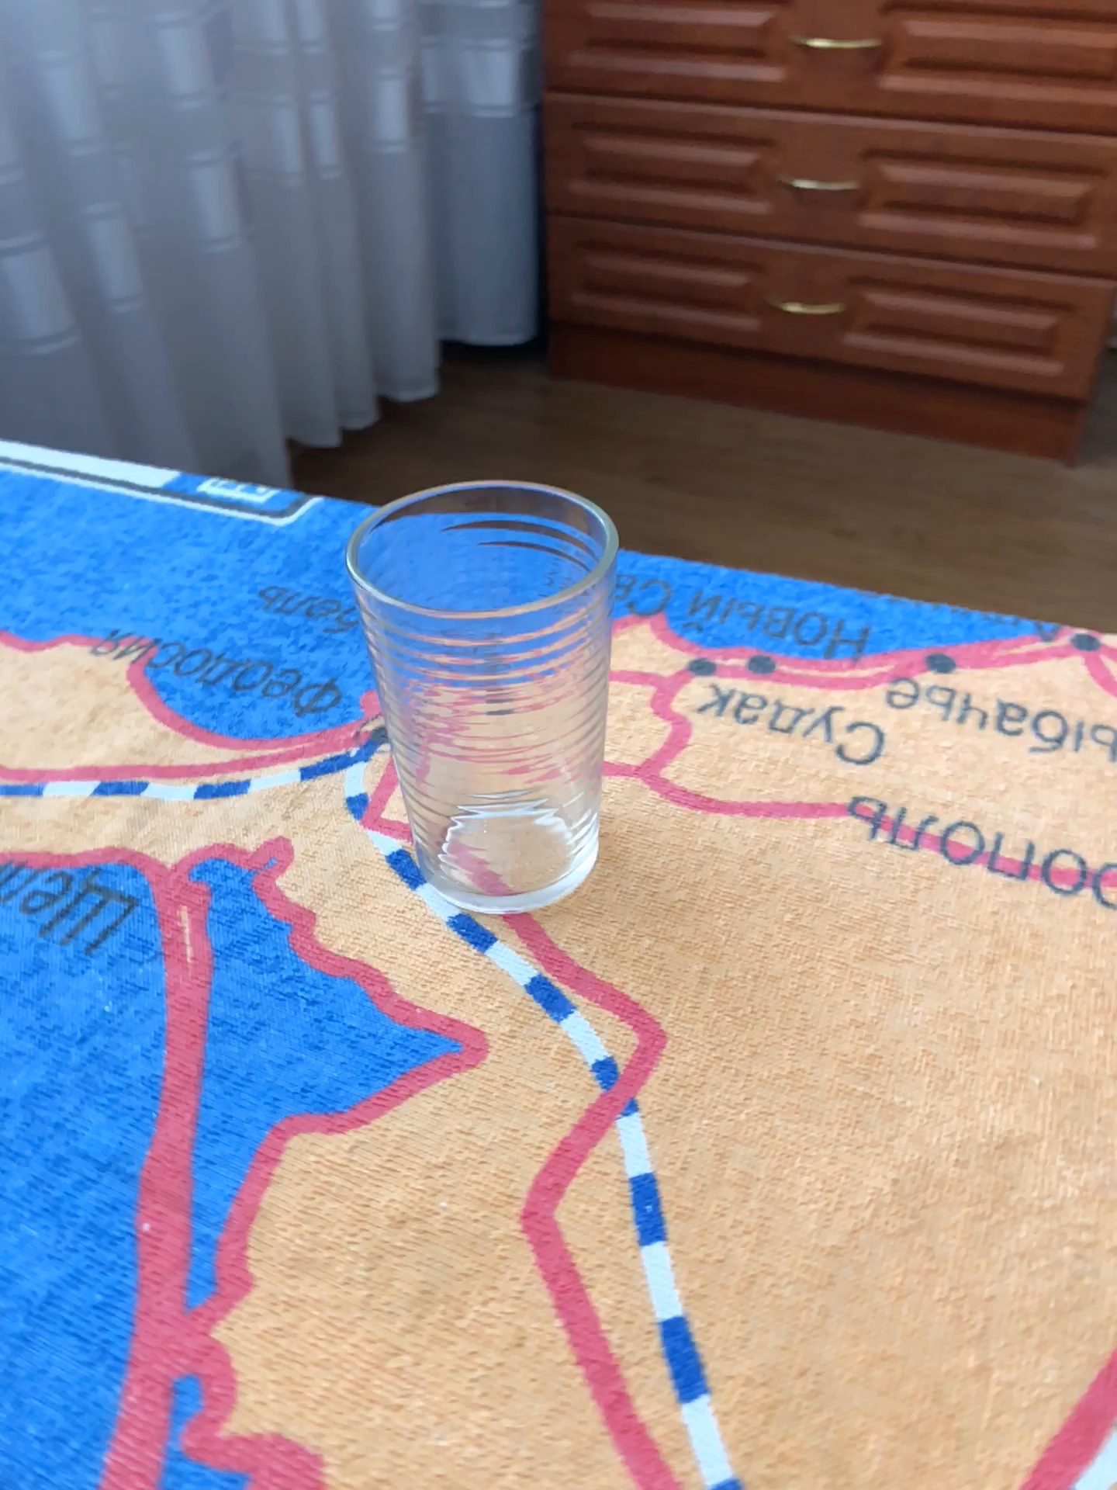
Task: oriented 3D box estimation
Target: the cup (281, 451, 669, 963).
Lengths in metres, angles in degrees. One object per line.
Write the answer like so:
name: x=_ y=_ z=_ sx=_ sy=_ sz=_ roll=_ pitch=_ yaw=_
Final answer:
cup: x=-0.017 y=-0.011 z=0.325 sx=0.068 sy=0.099 sz=0.070 roll=0 pitch=39 yaw=0
